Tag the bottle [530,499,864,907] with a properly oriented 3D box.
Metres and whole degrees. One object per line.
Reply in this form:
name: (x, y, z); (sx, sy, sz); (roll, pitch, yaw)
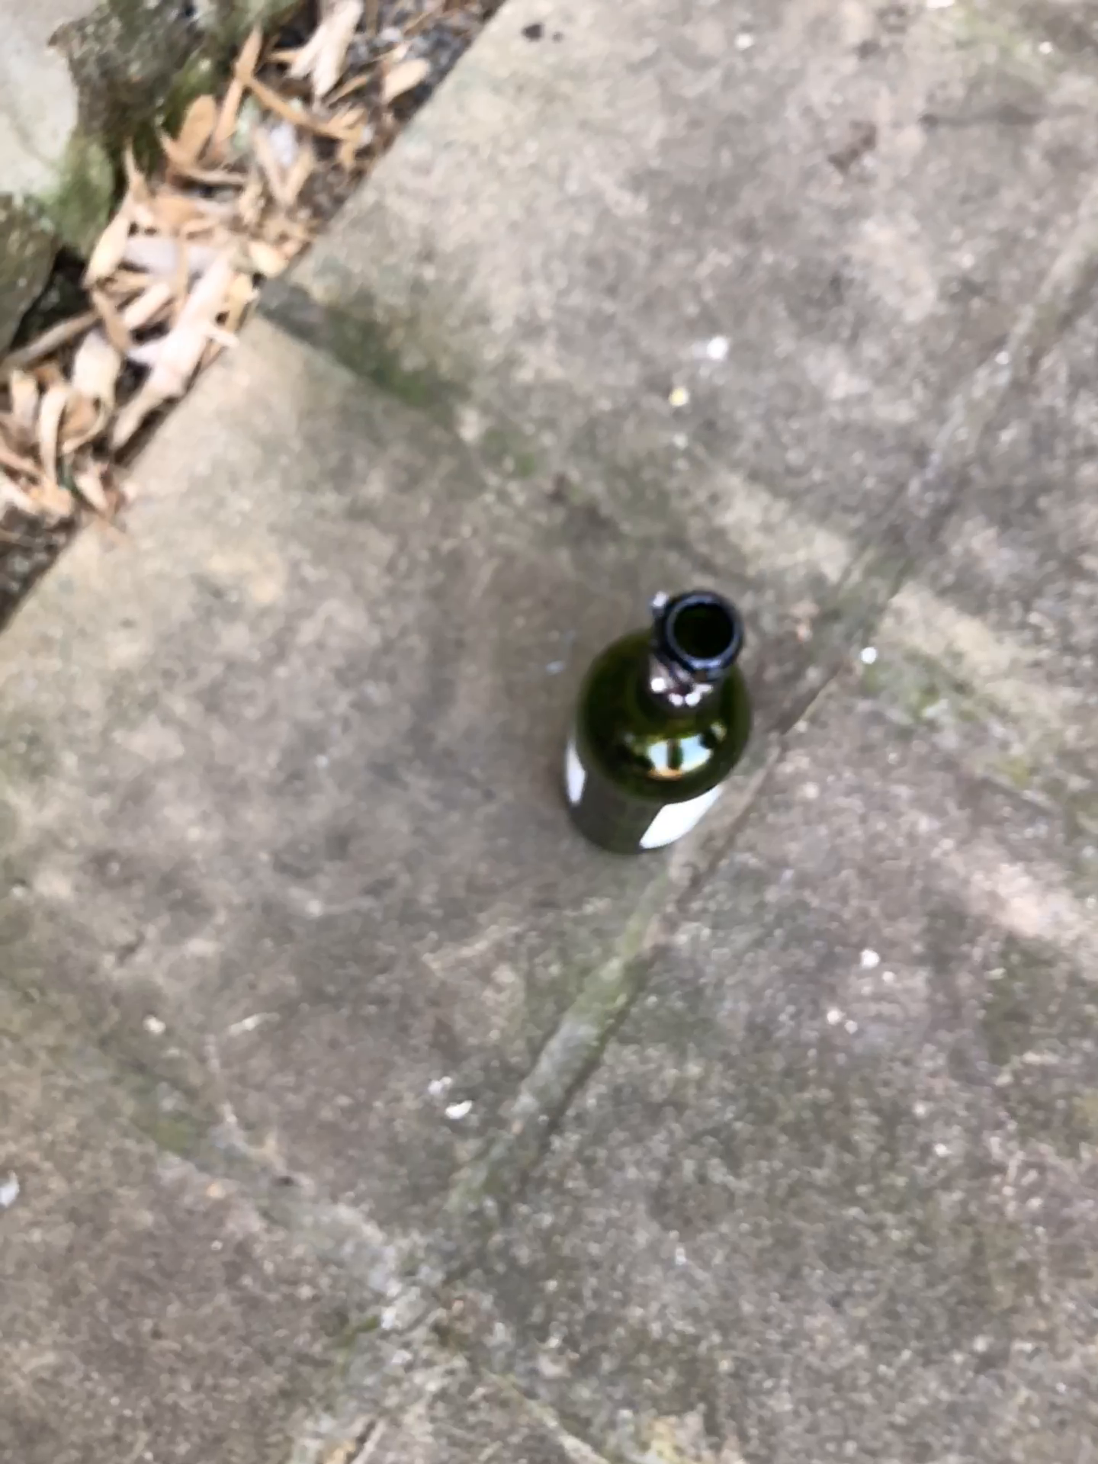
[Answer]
bottle: (0.046, 0.009, 0.532); (0.080, 0.290, 0.090); (19, 78, 2)
